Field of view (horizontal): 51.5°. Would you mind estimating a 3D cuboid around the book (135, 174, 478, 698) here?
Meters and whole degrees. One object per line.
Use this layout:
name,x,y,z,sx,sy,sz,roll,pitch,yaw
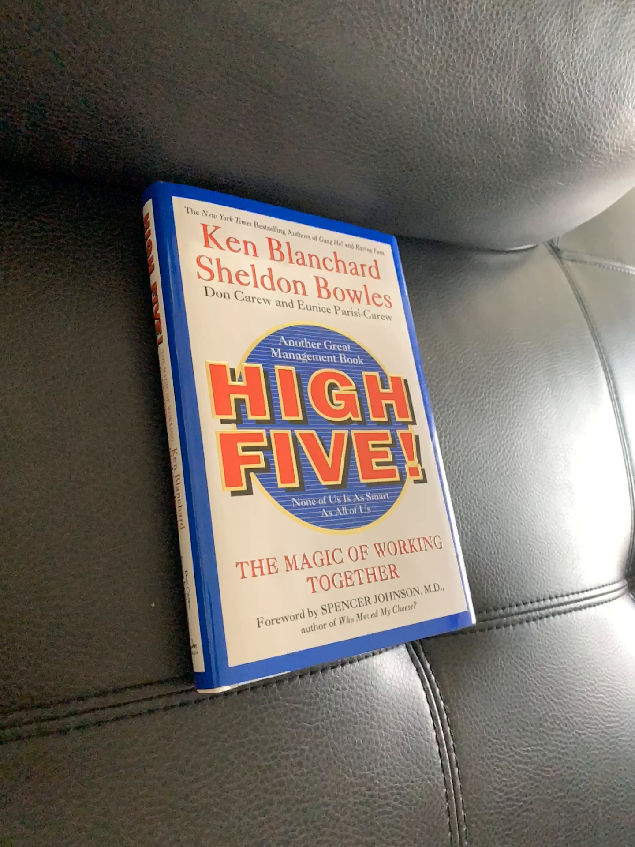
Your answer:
book,-0.002,-0.001,0.322,0.151,0.023,0.220,1,74,-37
